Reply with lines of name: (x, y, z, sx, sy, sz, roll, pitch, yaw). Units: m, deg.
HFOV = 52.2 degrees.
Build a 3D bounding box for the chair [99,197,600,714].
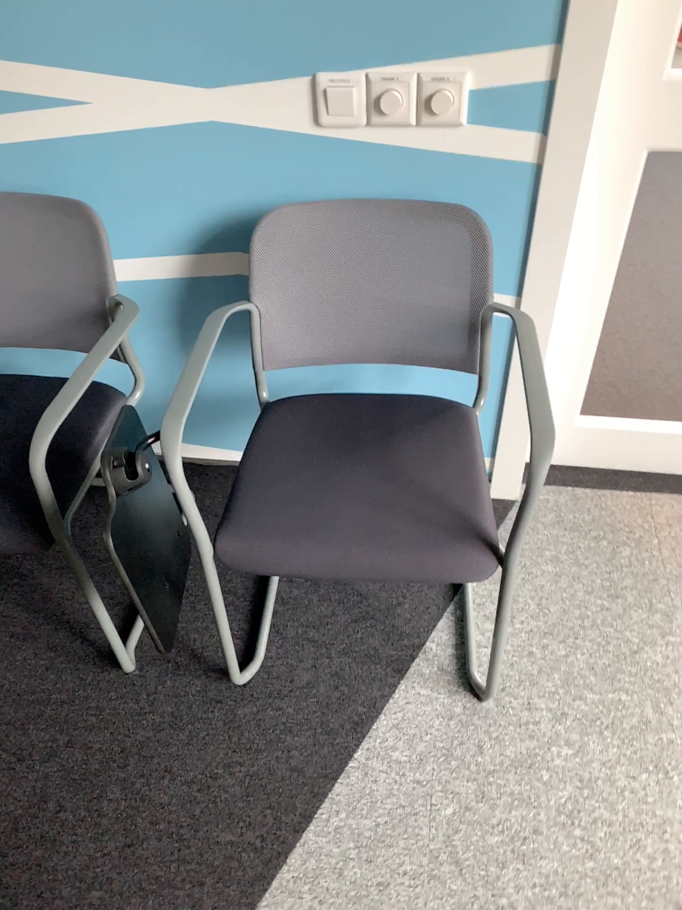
chair: (0.043, -0.012, 1.236, 0.570, 0.627, 0.643, 2, 45, 6)
